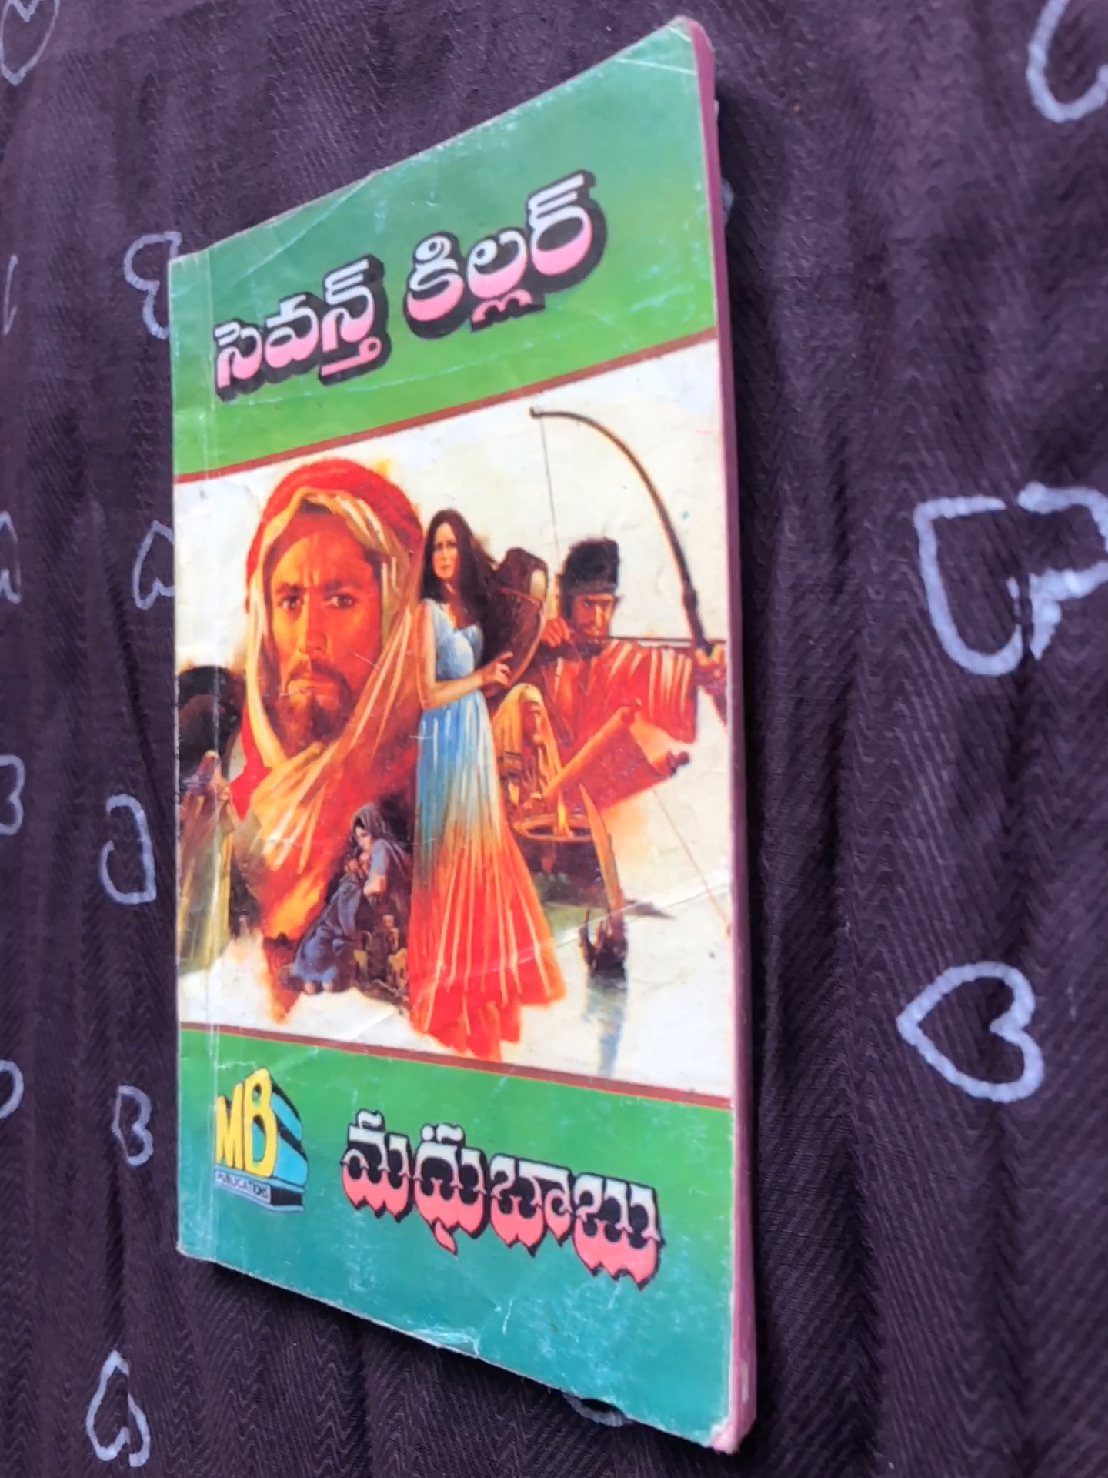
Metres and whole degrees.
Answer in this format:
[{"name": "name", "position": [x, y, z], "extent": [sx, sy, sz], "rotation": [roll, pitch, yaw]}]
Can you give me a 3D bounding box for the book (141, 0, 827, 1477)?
[{"name": "book", "position": [-0.016, -0.001, 0.155], "extent": [0.100, 0.010, 0.150], "rotation": [-2, 88, 37]}]
